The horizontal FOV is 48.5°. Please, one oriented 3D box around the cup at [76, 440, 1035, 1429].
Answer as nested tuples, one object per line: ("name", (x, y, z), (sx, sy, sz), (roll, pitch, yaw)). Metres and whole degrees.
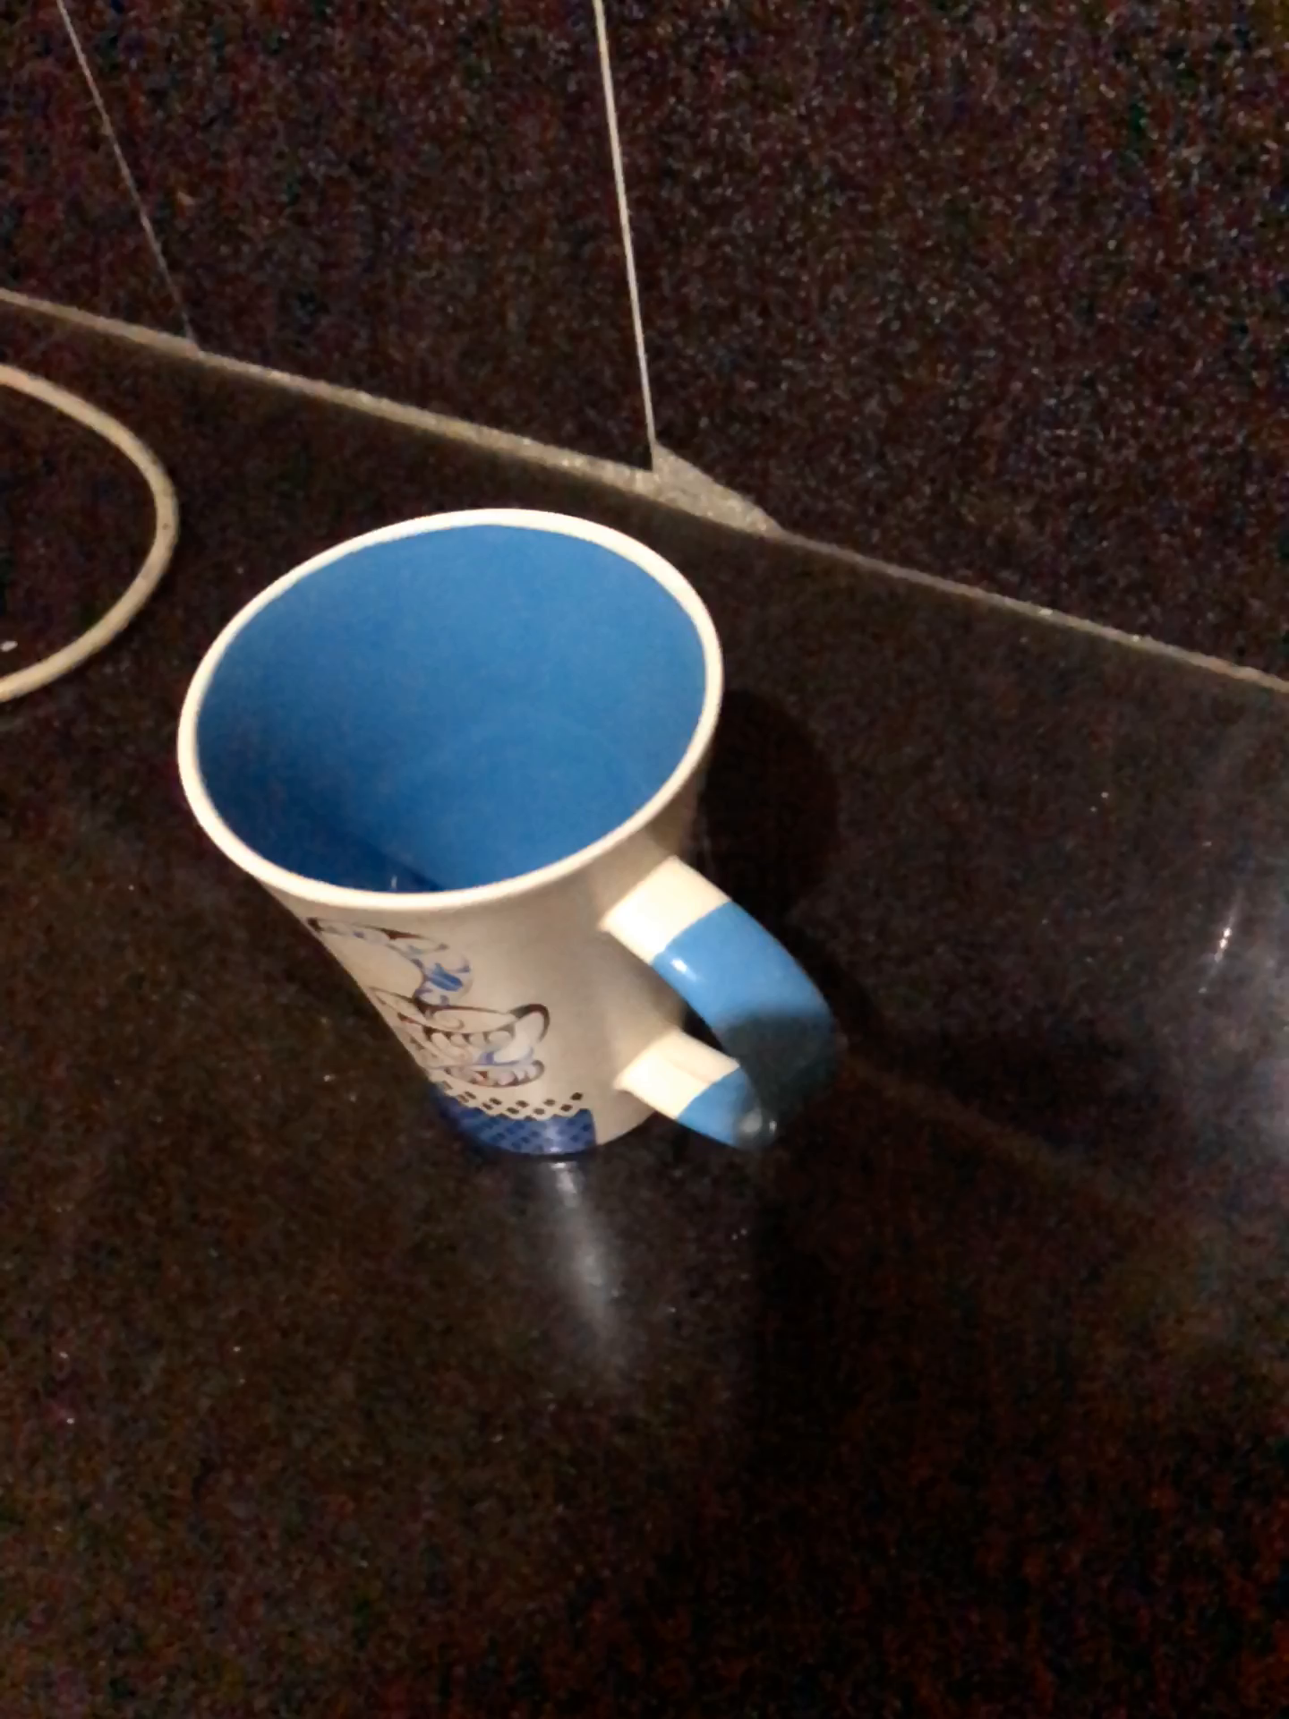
("cup", (-0.013, 0.012, 0.272), (0.130, 0.109, 0.090), (34, 64, 29))
